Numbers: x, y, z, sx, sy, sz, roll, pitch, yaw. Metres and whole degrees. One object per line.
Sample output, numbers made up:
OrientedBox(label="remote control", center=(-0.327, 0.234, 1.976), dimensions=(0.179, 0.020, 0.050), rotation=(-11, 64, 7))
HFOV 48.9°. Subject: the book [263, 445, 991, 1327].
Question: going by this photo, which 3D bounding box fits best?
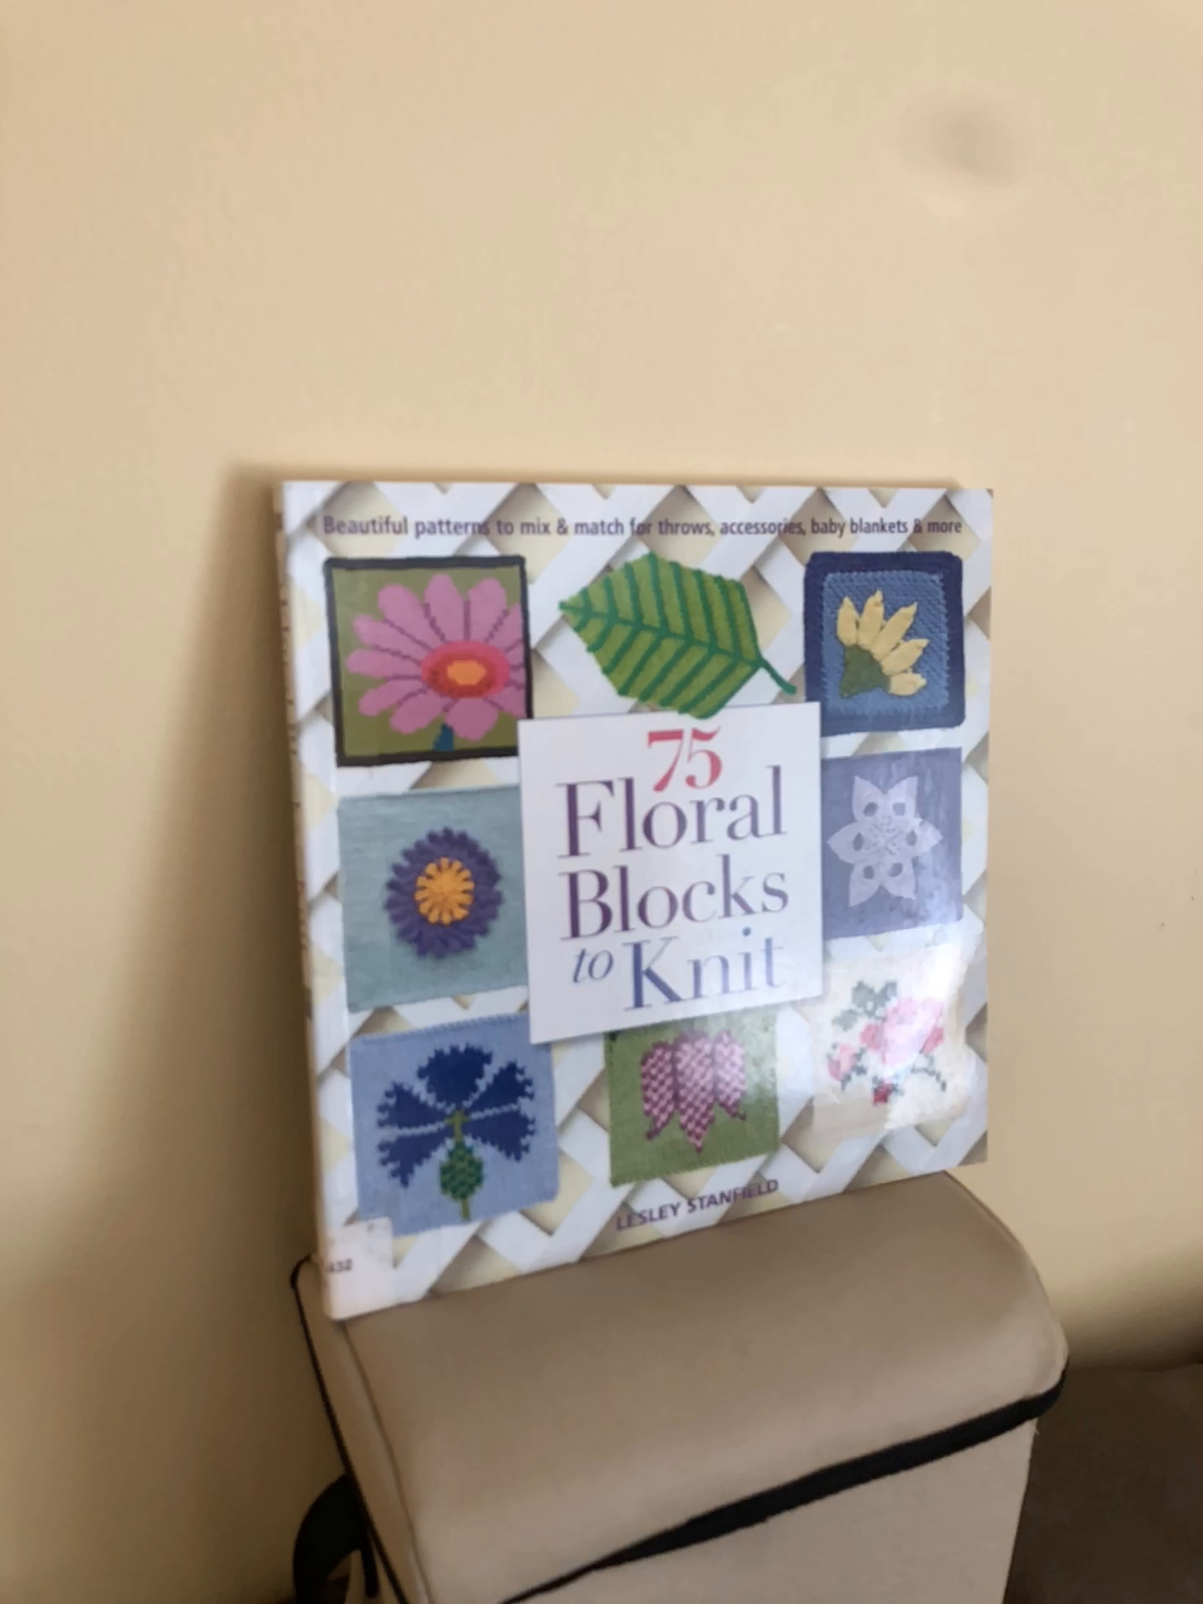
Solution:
OrientedBox(label="book", center=(0.021, 0.016, 0.377), dimensions=(0.218, 0.215, 0.020), rotation=(-4, 6, -27))
